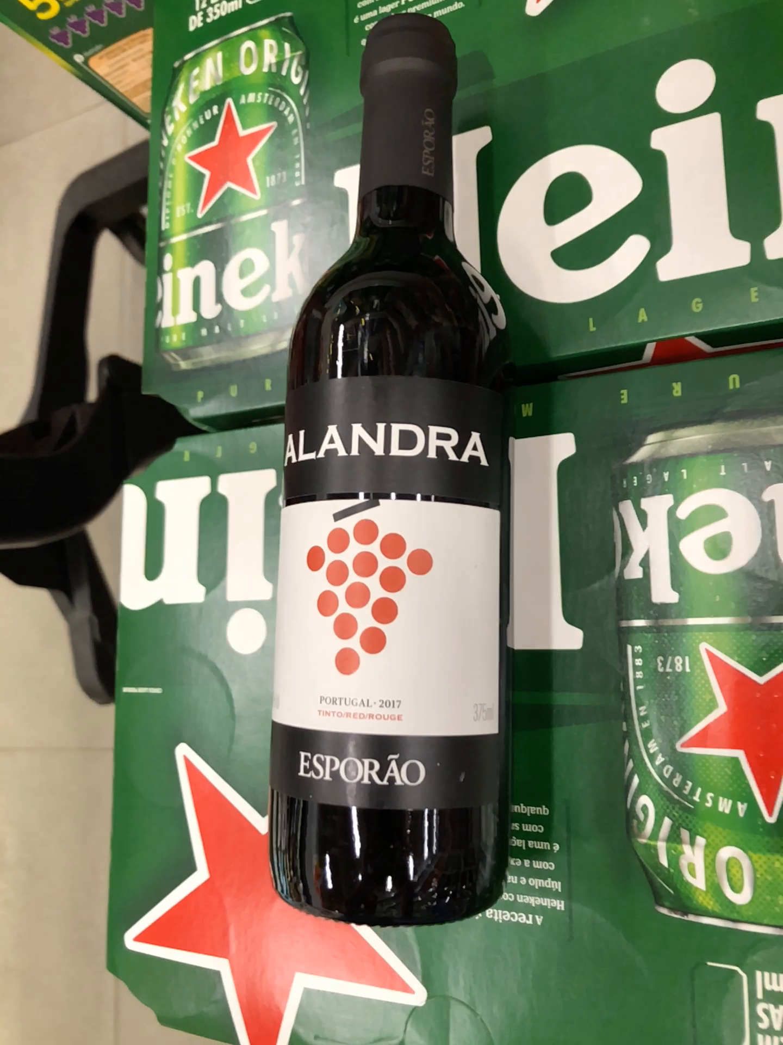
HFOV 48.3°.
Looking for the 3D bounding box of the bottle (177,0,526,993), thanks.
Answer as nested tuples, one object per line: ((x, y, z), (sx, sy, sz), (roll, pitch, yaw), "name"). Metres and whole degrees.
((-0.002, -0.029, 0.213), (0.060, 0.060, 0.240), (0, 82, 15), "bottle")
